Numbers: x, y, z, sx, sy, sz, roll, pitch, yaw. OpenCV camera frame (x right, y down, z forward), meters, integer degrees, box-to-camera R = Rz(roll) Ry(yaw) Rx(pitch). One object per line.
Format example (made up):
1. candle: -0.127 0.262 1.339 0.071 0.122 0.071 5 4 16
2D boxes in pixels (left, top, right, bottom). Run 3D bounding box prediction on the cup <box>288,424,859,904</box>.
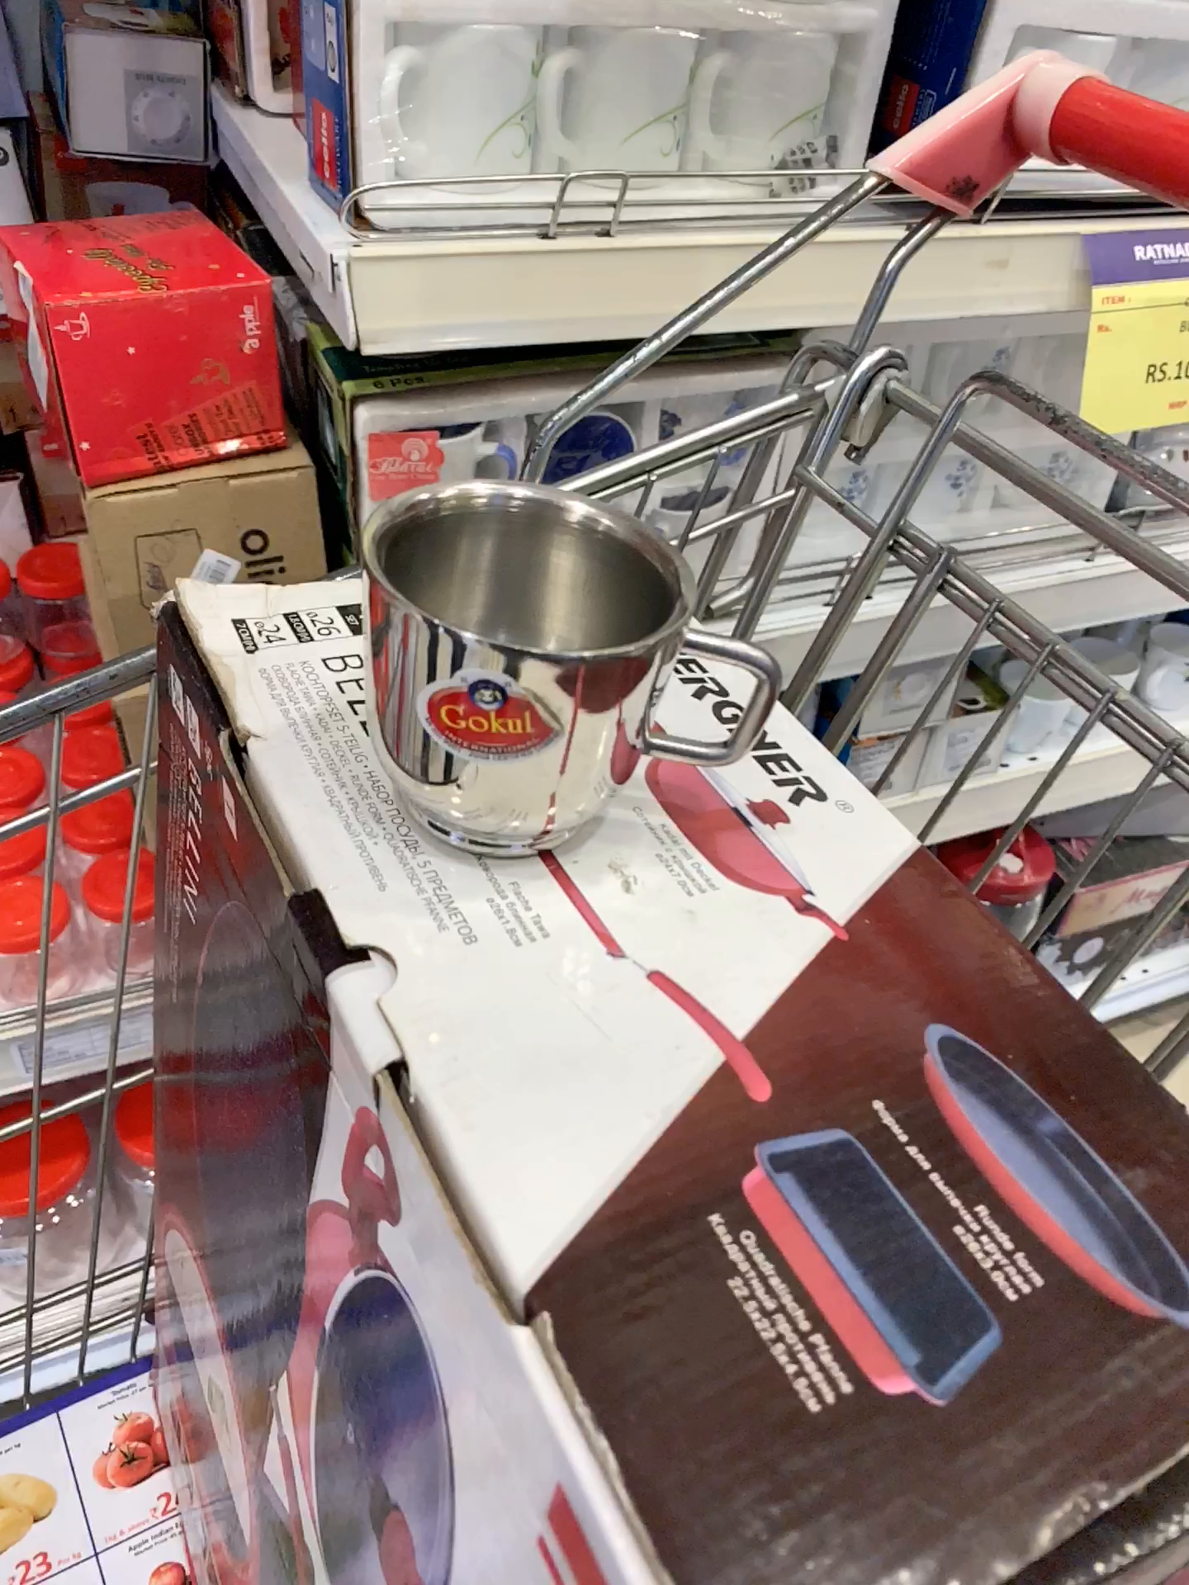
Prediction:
1. cup: -0.001 -0.026 0.229 0.090 0.050 0.060 10 42 3
